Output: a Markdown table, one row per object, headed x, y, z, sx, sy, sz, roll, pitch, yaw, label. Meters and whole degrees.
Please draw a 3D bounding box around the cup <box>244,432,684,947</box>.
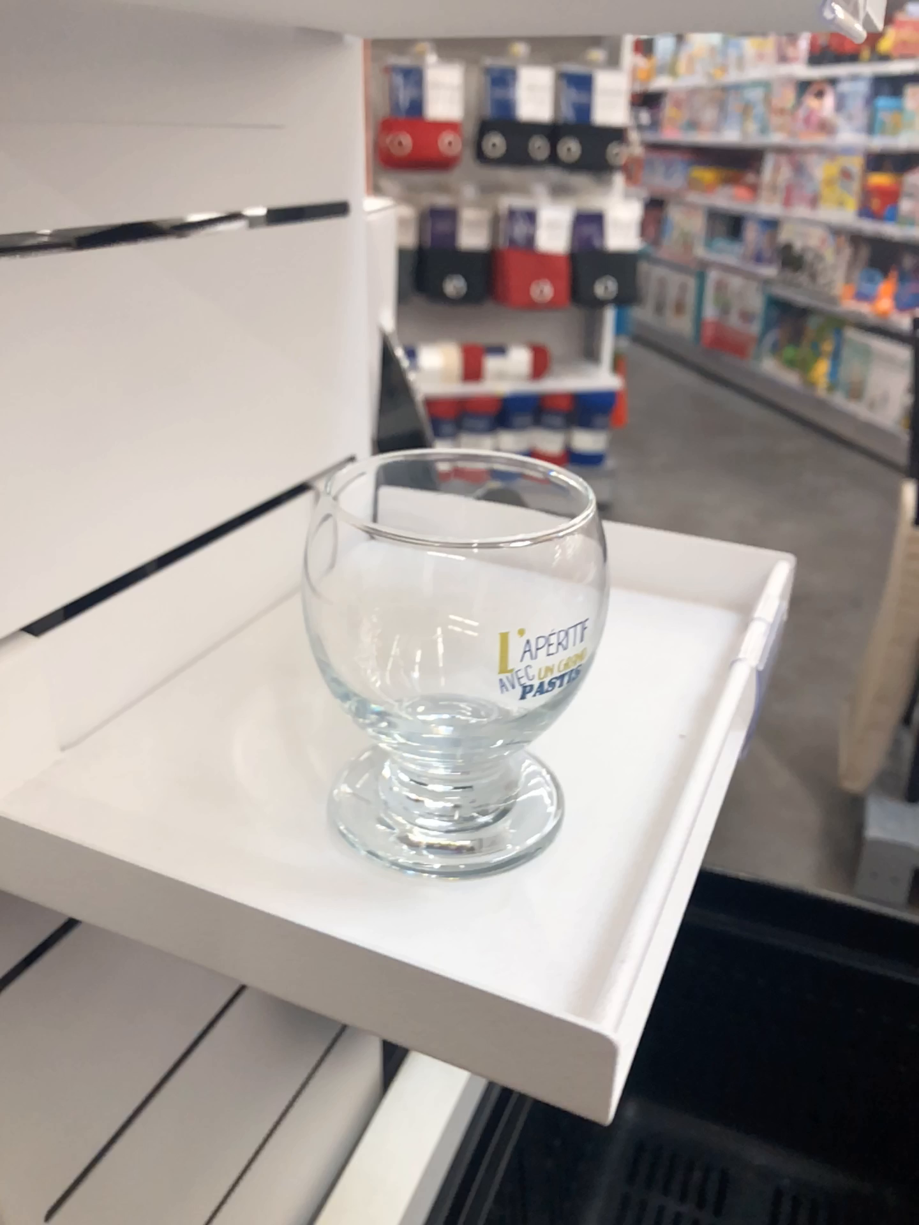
| x | y | z | sx | sy | sz | roll | pitch | yaw | label |
| --- | --- | --- | --- | --- | --- | --- | --- | --- | --- |
| -0.001 | 0.013 | 0.268 | 0.074 | 0.093 | 0.079 | 1 | 25 | 0 | cup |
